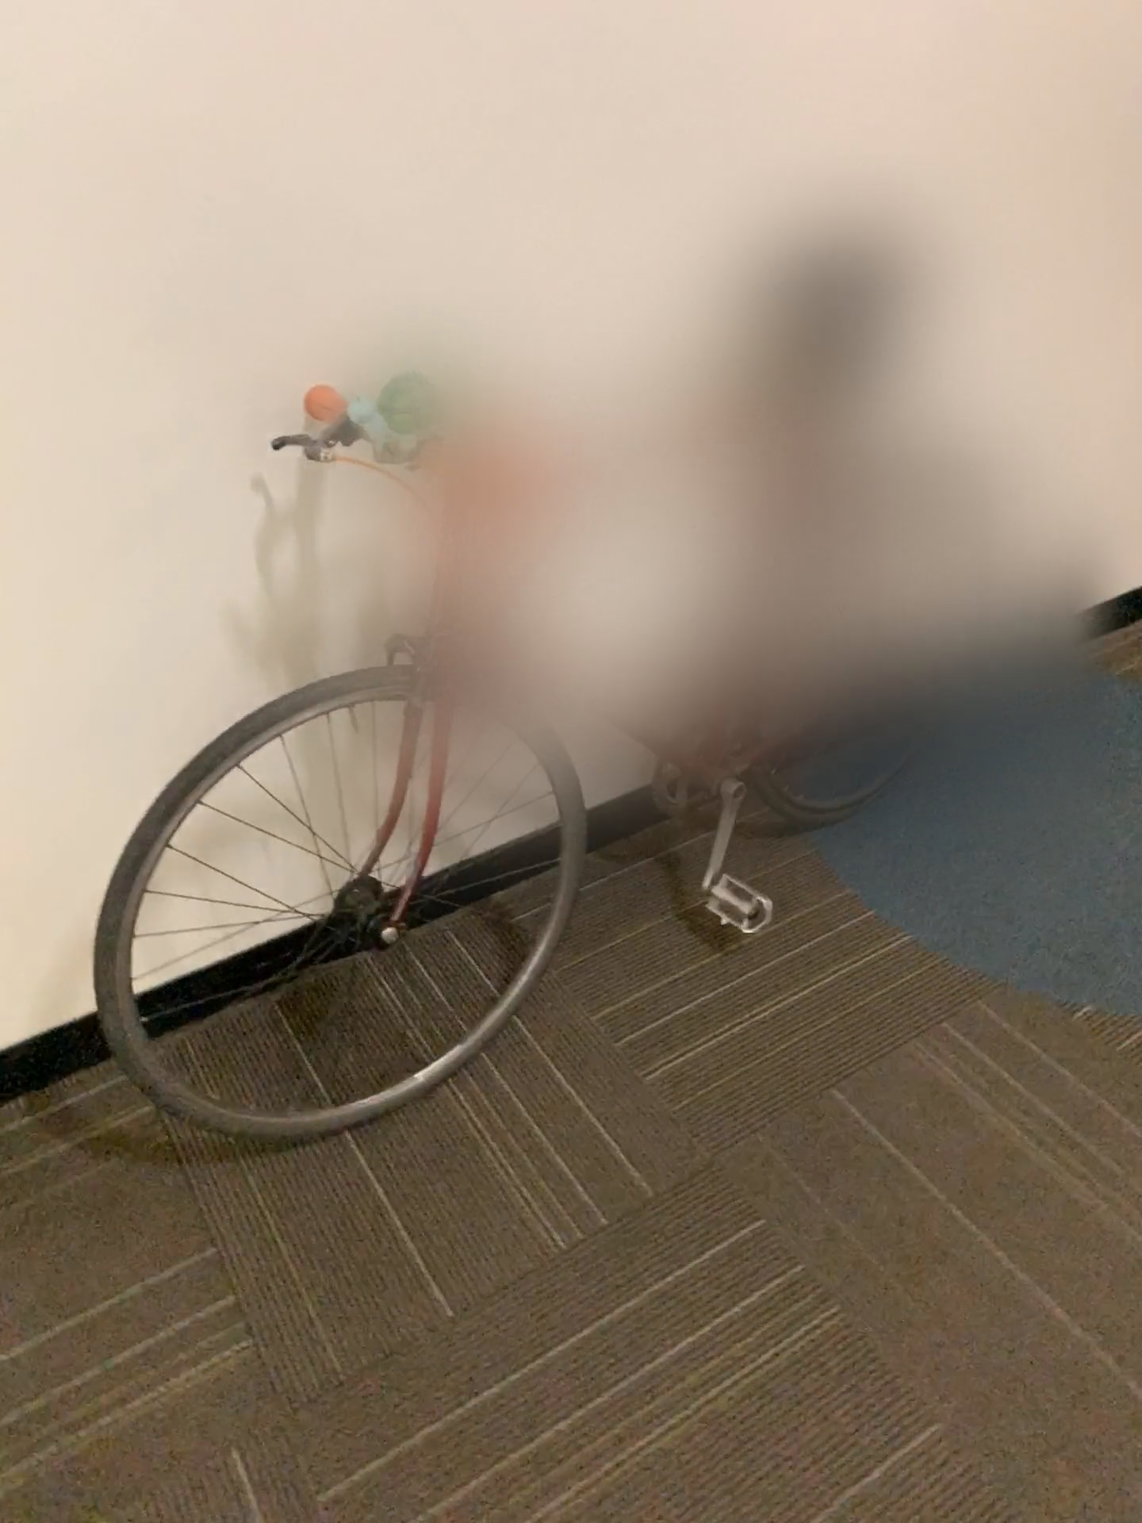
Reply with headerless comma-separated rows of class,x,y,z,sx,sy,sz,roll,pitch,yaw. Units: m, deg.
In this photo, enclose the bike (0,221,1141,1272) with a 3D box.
bike,0.088,-0.156,1.689,1.628,0.909,0.450,-25,41,-31
